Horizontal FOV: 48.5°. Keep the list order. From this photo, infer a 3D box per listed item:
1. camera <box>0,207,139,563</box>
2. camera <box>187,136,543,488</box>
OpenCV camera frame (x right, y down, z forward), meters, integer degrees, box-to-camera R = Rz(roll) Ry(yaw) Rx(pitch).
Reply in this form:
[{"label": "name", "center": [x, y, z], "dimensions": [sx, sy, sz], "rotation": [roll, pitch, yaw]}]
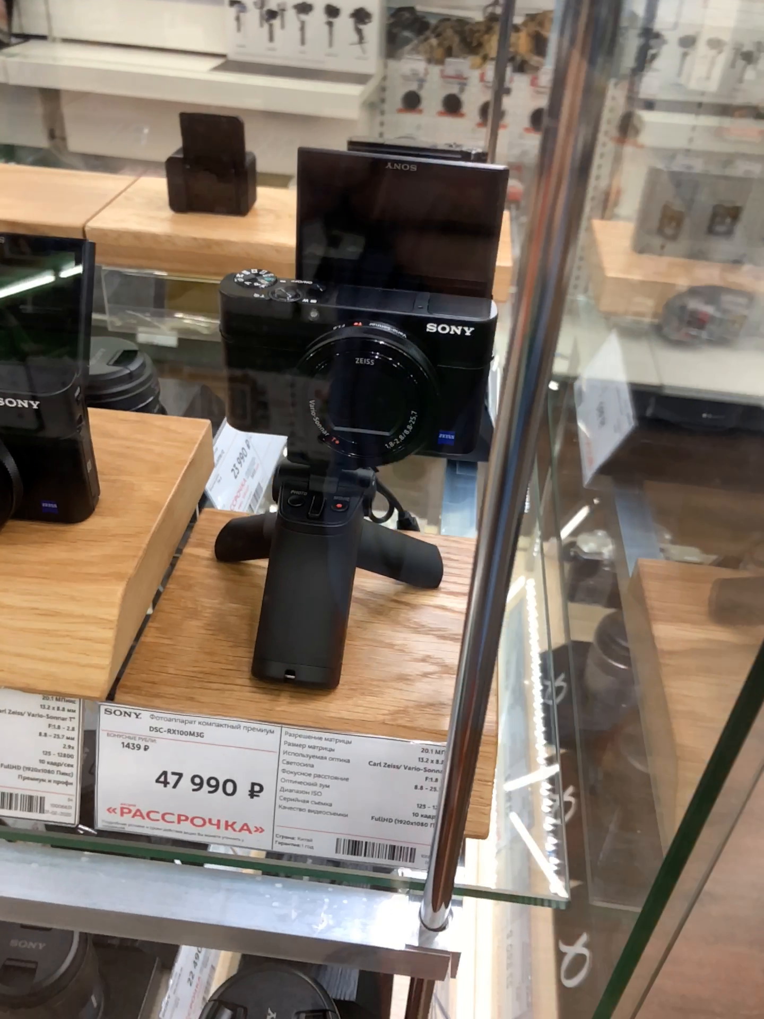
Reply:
[{"label": "camera", "center": [-0.160, -0.047, 0.313], "dimensions": [0.108, 0.097, 0.070], "rotation": [7, 36, 4]}, {"label": "camera", "center": [-0.005, -0.072, 0.309], "dimensions": [0.108, 0.097, 0.063], "rotation": [7, 36, 4]}]
